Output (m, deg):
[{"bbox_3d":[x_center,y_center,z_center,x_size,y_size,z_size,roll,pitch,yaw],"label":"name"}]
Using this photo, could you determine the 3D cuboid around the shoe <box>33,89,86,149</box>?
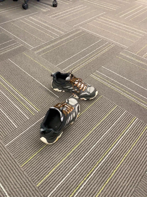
[{"bbox_3d":[-0.060,0.096,0.790,0.110,0.099,0.301,27,54,21],"label":"shoe"}]

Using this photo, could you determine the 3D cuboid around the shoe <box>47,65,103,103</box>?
[{"bbox_3d":[0.006,-0.090,0.898,0.300,0.099,0.110,19,51,15],"label":"shoe"}]
